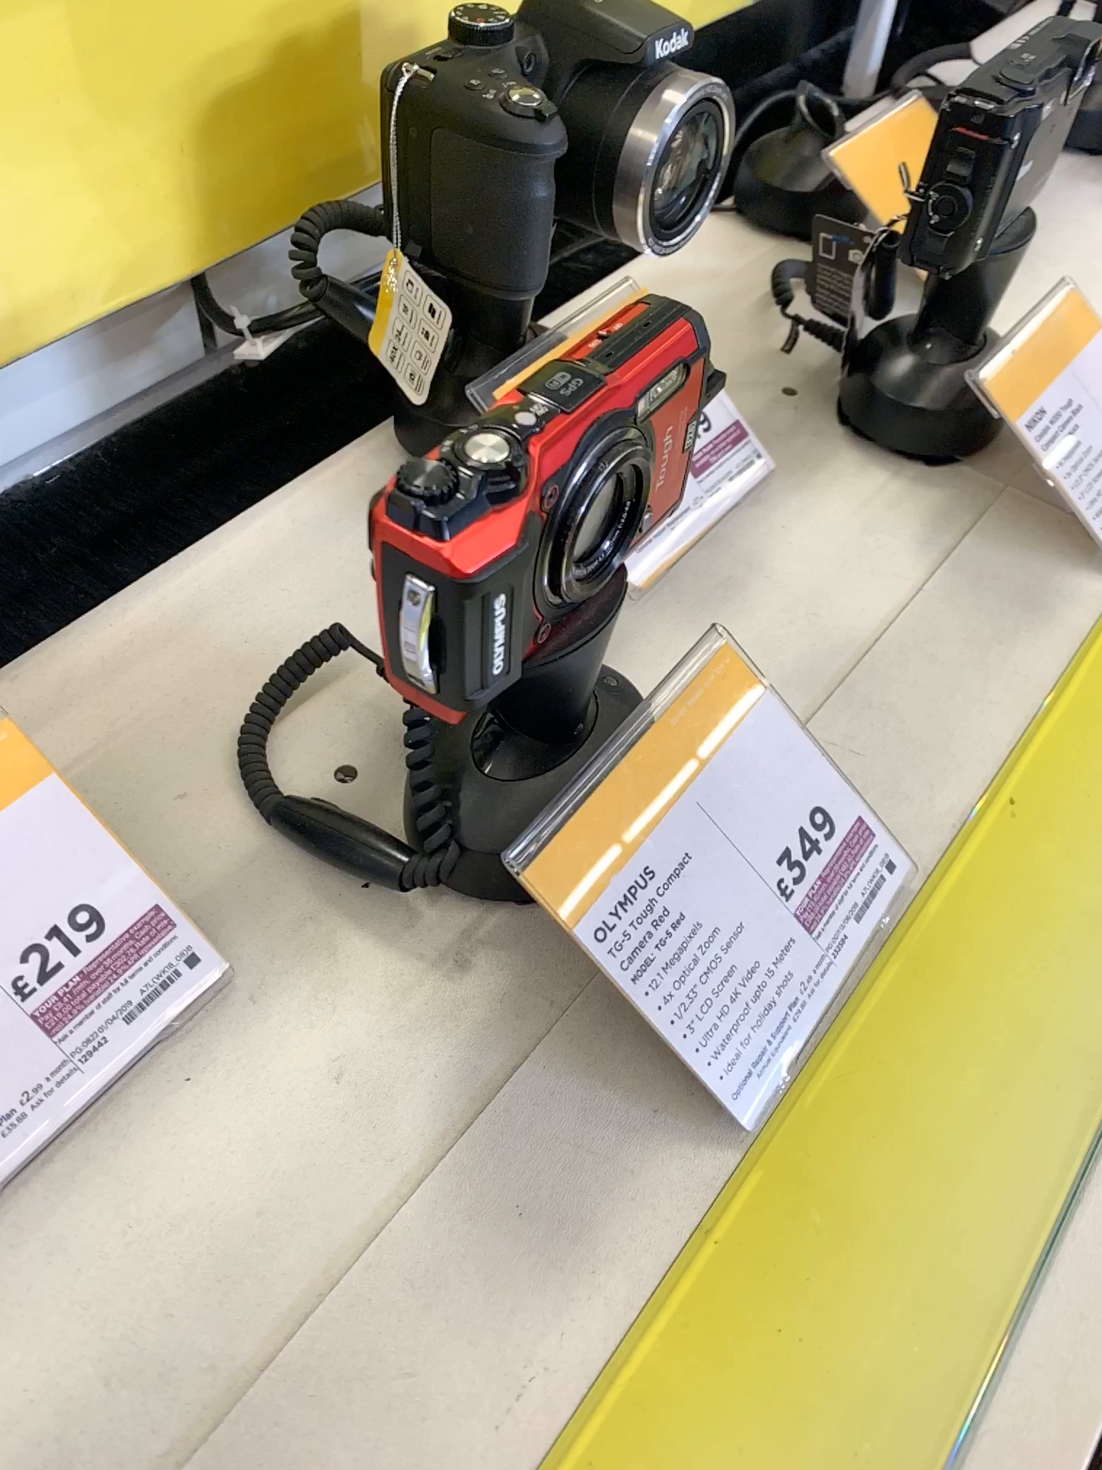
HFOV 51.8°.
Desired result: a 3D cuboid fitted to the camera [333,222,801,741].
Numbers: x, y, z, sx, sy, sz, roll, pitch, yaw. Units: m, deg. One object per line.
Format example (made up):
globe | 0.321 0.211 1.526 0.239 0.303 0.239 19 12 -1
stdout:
camera | 0.007 -0.064 0.268 0.040 0.059 0.121 30 54 19
